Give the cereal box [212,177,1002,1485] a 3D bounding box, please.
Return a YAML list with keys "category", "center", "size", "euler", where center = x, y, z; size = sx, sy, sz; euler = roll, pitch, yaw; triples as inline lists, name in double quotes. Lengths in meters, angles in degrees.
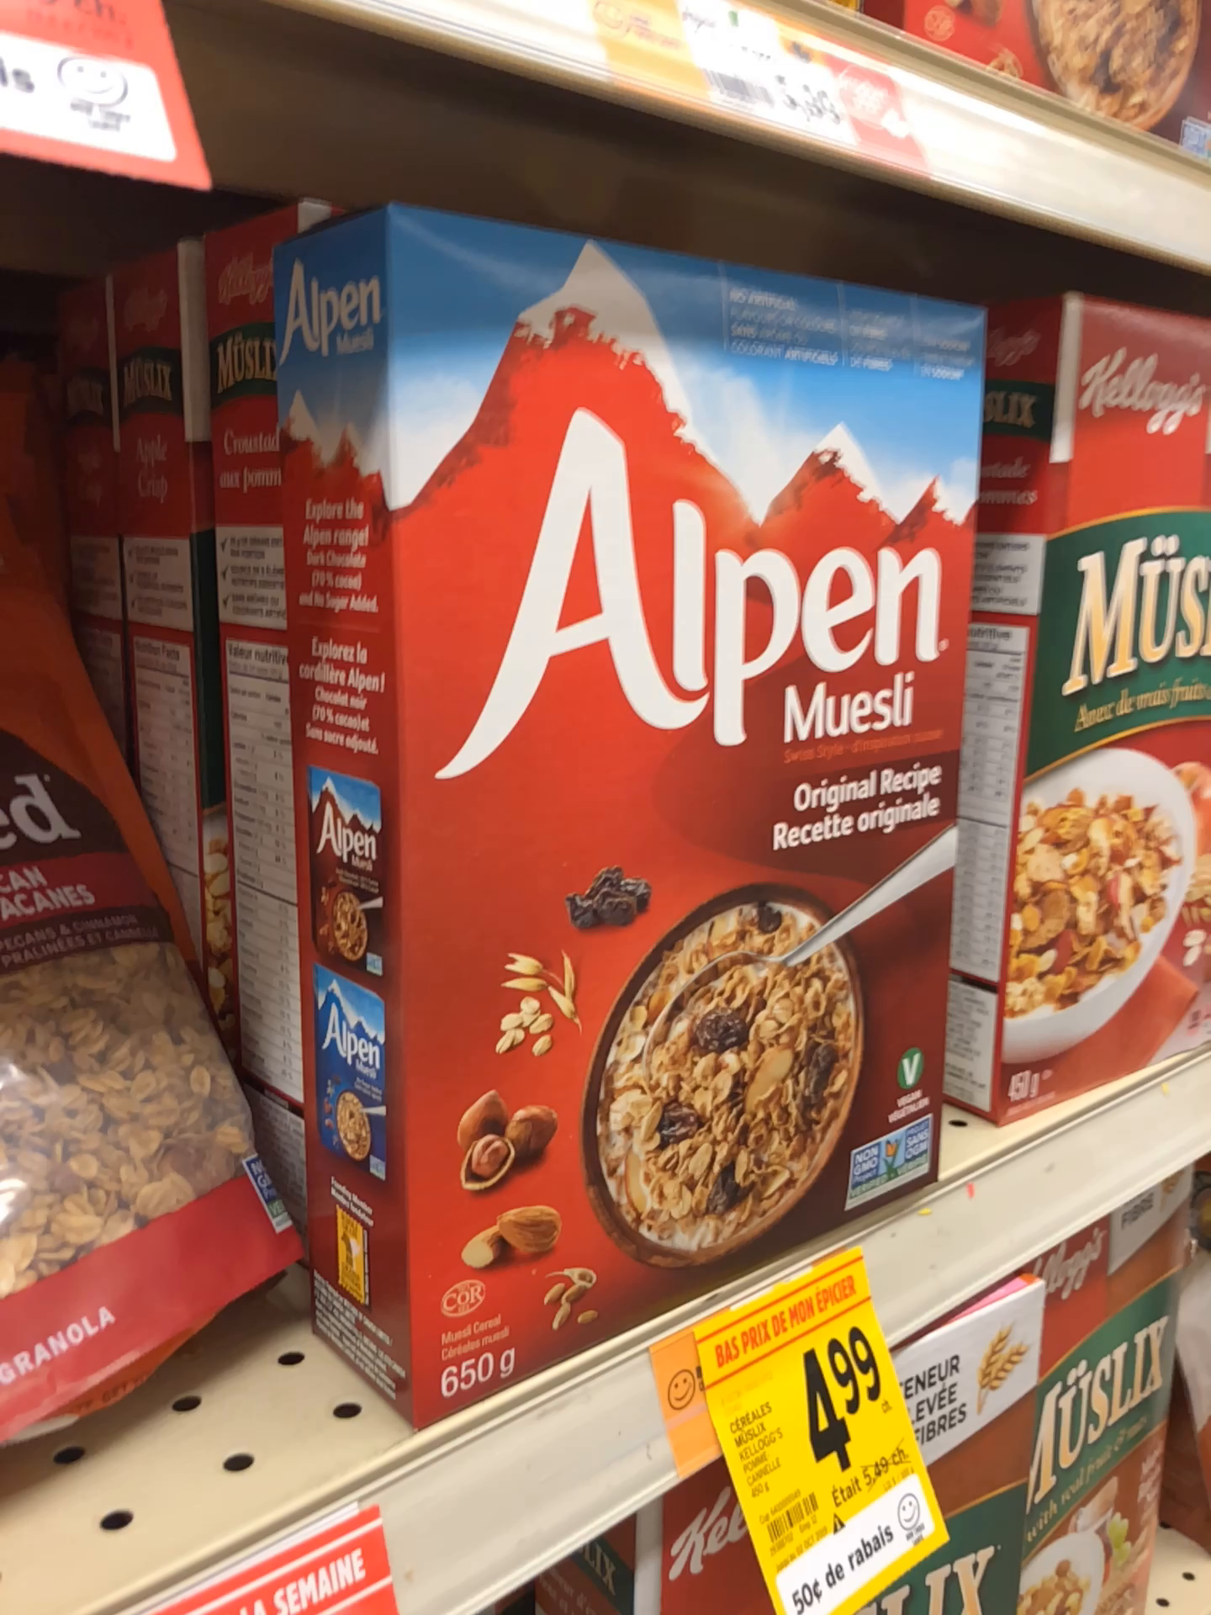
- category: "cereal box"
  center: [0.008, -0.001, 0.320]
  size: [0.180, 0.239, 0.060]
  euler: [-9, 15, -41]
